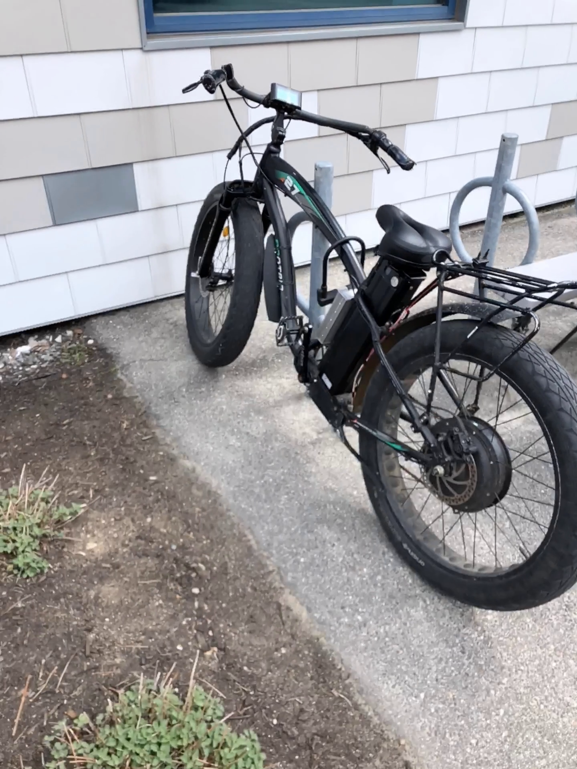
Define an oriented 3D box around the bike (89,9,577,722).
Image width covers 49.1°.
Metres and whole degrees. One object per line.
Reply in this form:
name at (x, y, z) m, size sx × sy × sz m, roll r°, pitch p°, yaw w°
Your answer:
bike at (0.223, -0.336, 1.937) m, size 0.913 × 1.132 × 1.865 m, roll -19°, pitch 42°, yaw -25°
